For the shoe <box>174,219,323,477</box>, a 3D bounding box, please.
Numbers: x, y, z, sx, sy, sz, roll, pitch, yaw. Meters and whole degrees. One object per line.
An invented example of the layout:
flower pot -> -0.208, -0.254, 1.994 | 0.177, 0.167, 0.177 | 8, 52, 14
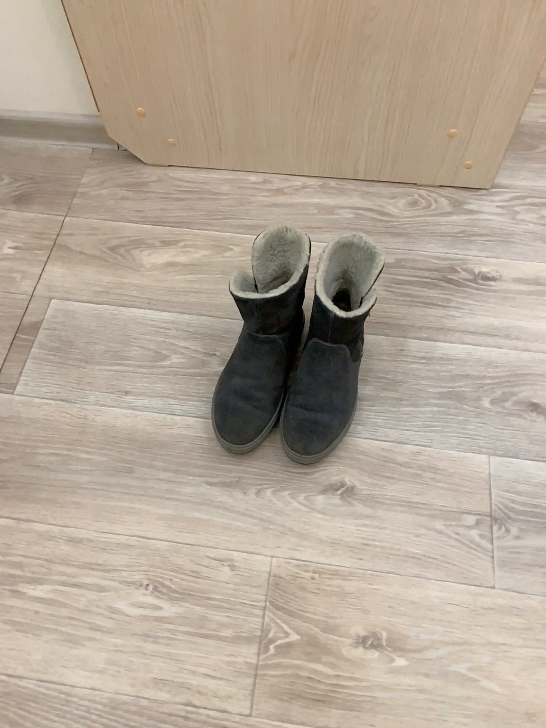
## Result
shoe -> -0.020, -0.019, 0.734 | 0.100, 0.179, 0.271 | 14, 63, 8

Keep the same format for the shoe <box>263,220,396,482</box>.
shoe -> 0.072, -0.015, 0.712 | 0.100, 0.170, 0.271 | 12, 62, 8
